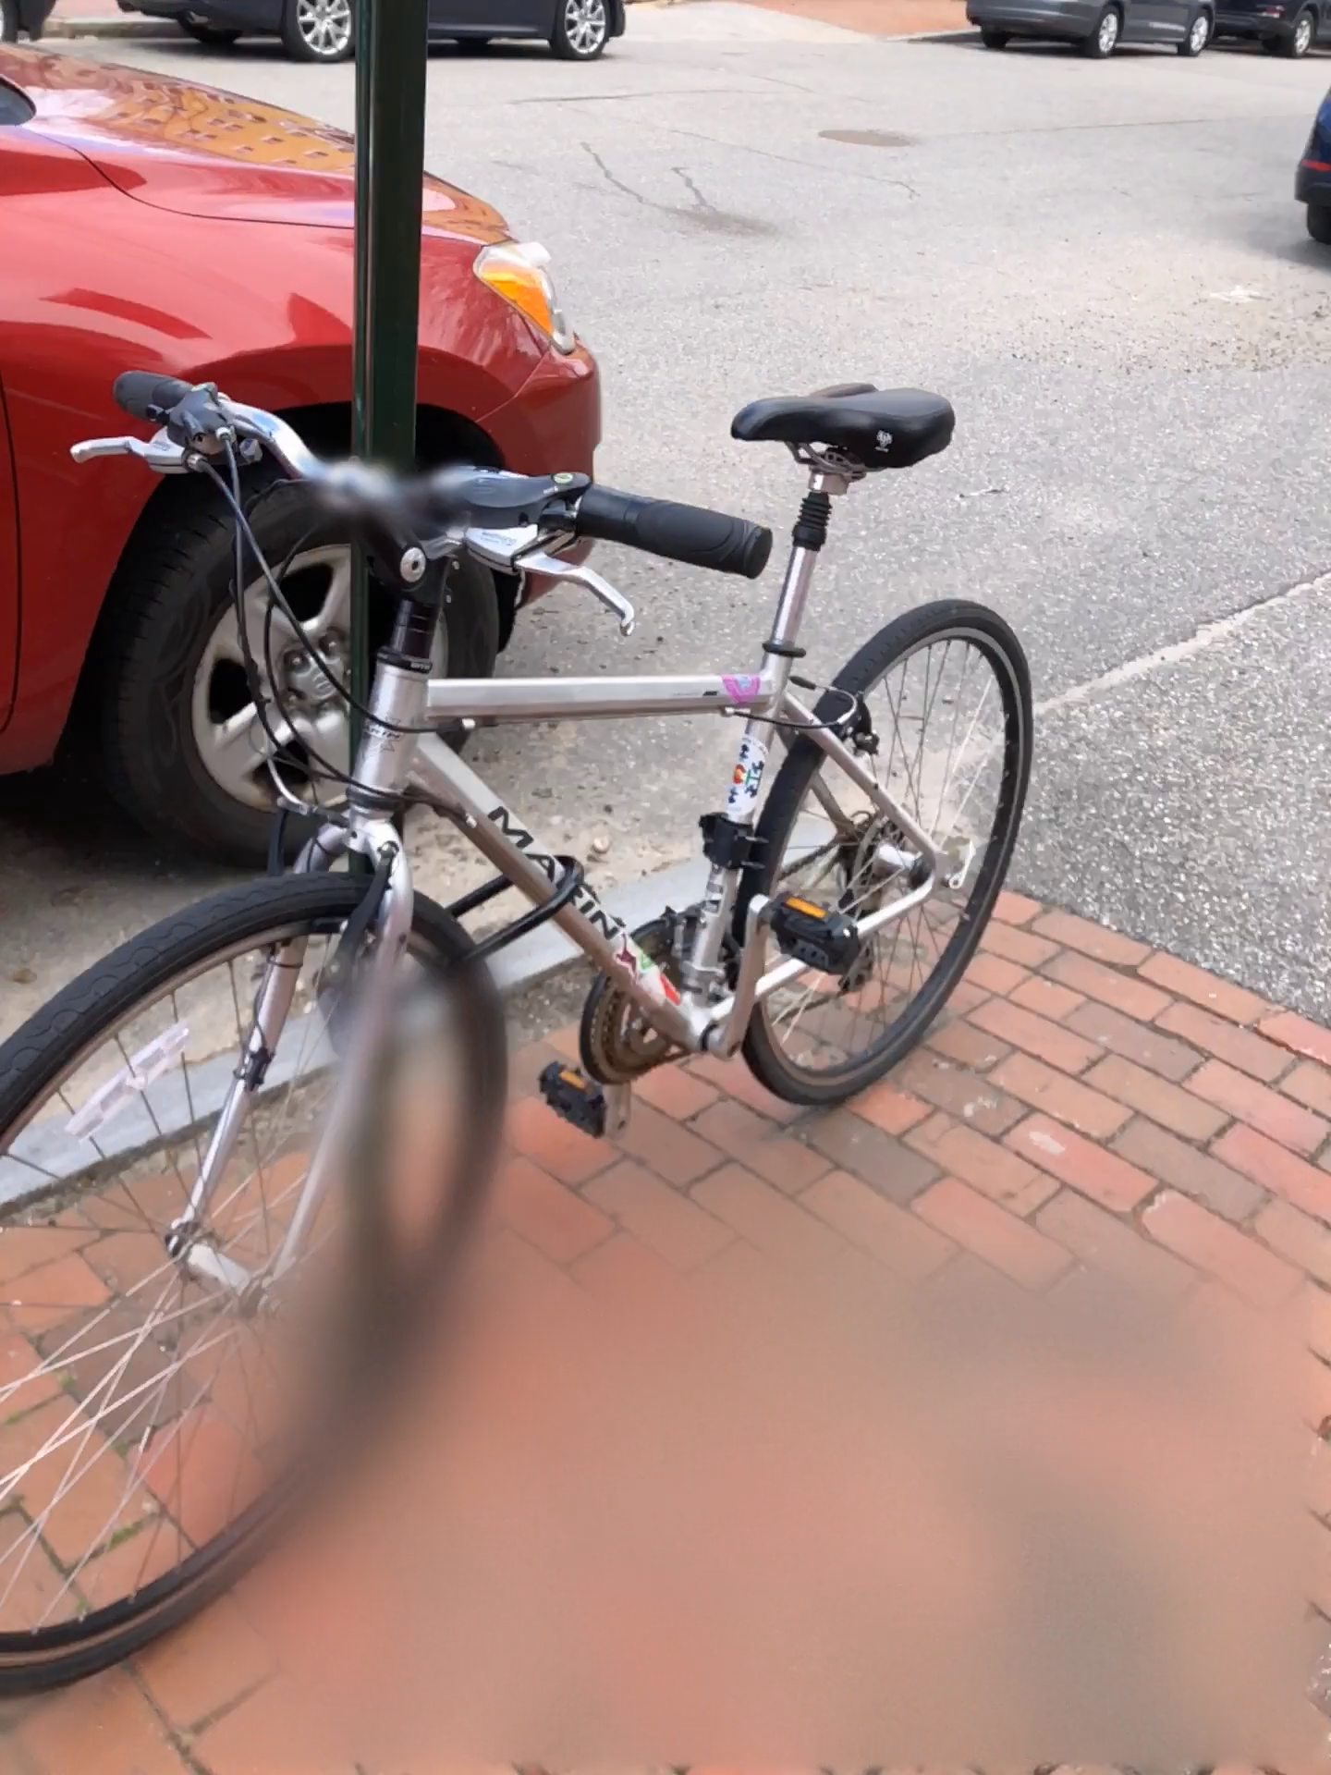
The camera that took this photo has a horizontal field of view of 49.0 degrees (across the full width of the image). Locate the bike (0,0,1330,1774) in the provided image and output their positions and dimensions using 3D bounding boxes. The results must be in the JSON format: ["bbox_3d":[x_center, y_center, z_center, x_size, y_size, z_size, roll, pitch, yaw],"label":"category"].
[{"bbox_3d":[-0.064,-0.085,1.342,0.609,1.011,1.566,29,34,28],"label":"bike"}]
